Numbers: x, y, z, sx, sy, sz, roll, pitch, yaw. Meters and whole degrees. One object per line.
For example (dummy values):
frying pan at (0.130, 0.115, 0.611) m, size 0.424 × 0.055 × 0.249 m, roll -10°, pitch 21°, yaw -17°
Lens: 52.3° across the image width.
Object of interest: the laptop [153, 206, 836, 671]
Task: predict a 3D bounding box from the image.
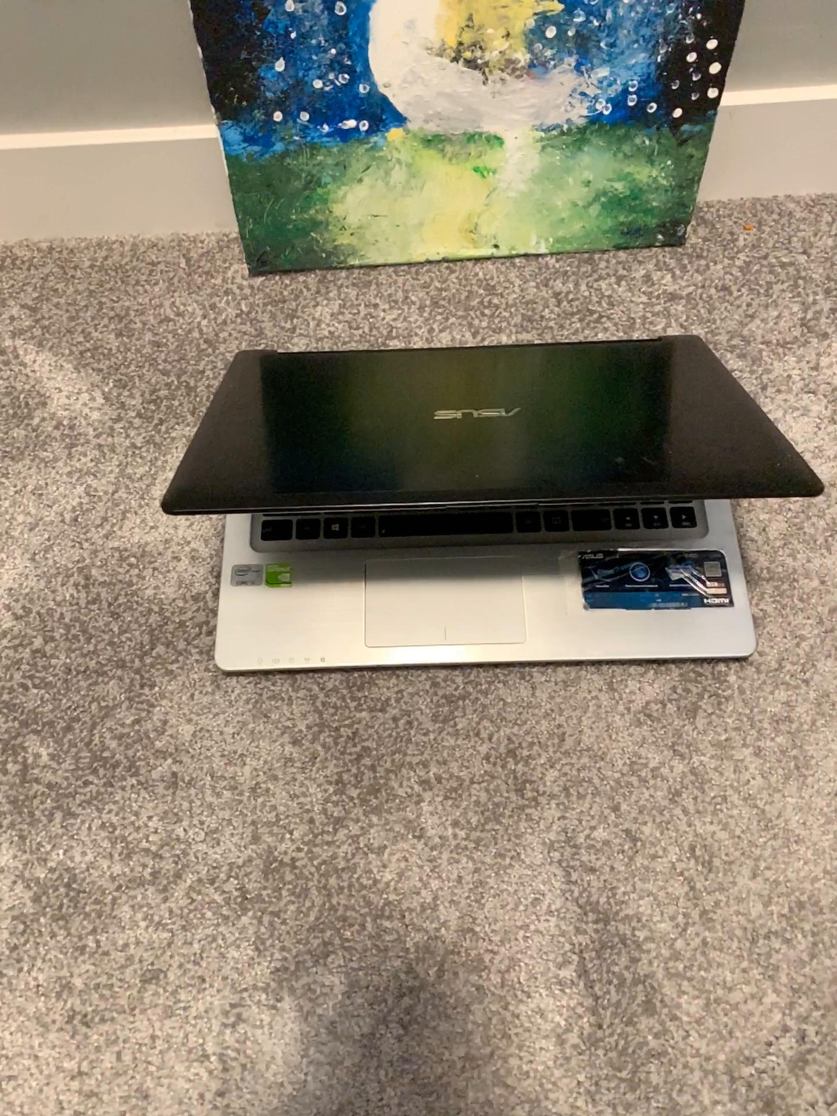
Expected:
laptop at (0.038, -0.074, 0.550) m, size 0.354 × 0.134 × 0.253 m, roll -2°, pitch 66°, yaw 1°
